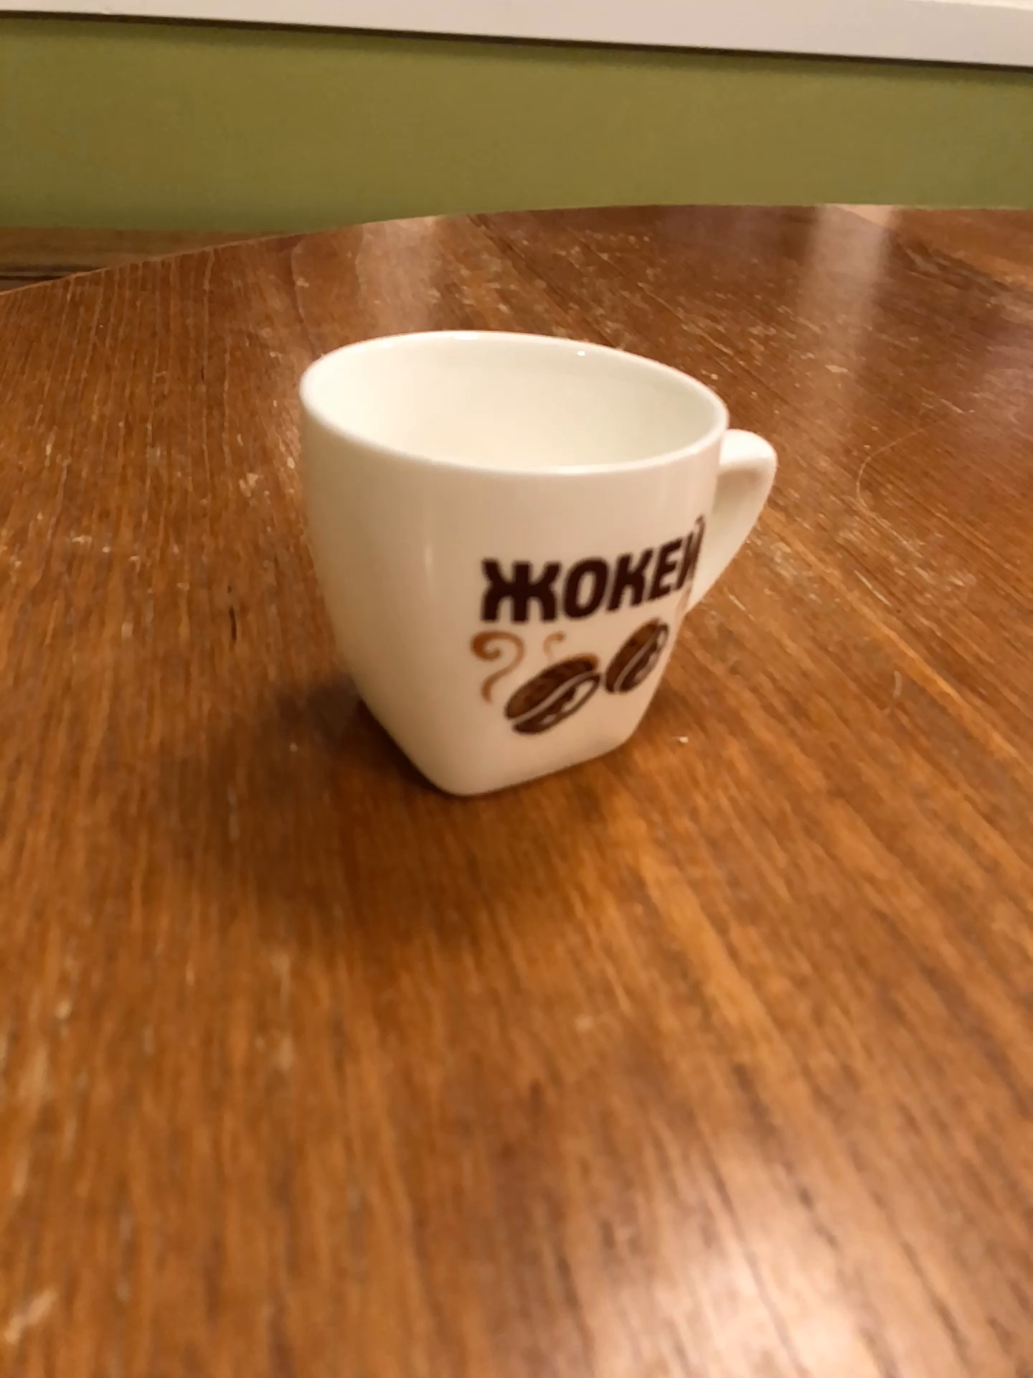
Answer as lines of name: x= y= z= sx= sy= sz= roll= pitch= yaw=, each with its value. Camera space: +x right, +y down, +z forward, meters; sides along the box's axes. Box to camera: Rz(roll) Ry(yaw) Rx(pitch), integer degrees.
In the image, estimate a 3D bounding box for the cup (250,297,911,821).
cup: x=0.007 y=-0.026 z=0.178 sx=0.076 sy=0.047 sz=0.060 roll=-16 pitch=38 yaw=-28
